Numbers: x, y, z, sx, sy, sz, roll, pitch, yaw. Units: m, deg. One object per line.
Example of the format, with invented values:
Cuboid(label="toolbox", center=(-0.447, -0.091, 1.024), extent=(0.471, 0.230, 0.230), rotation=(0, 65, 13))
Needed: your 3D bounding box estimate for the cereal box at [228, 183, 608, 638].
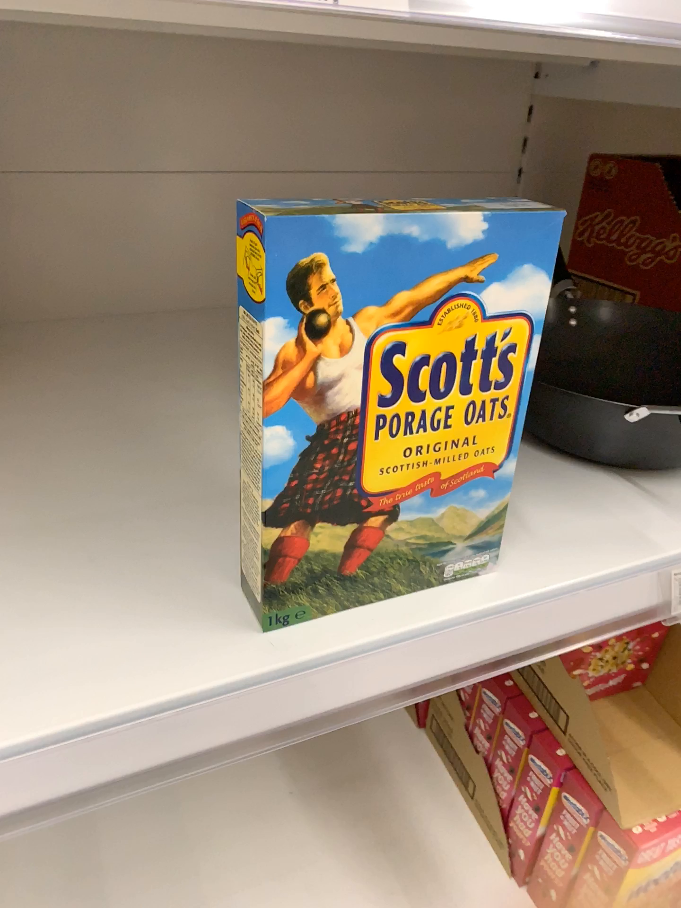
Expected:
Cuboid(label="cereal box", center=(0.040, -0.031, 0.461), extent=(0.211, 0.268, 0.070), rotation=(-9, 31, -23))
